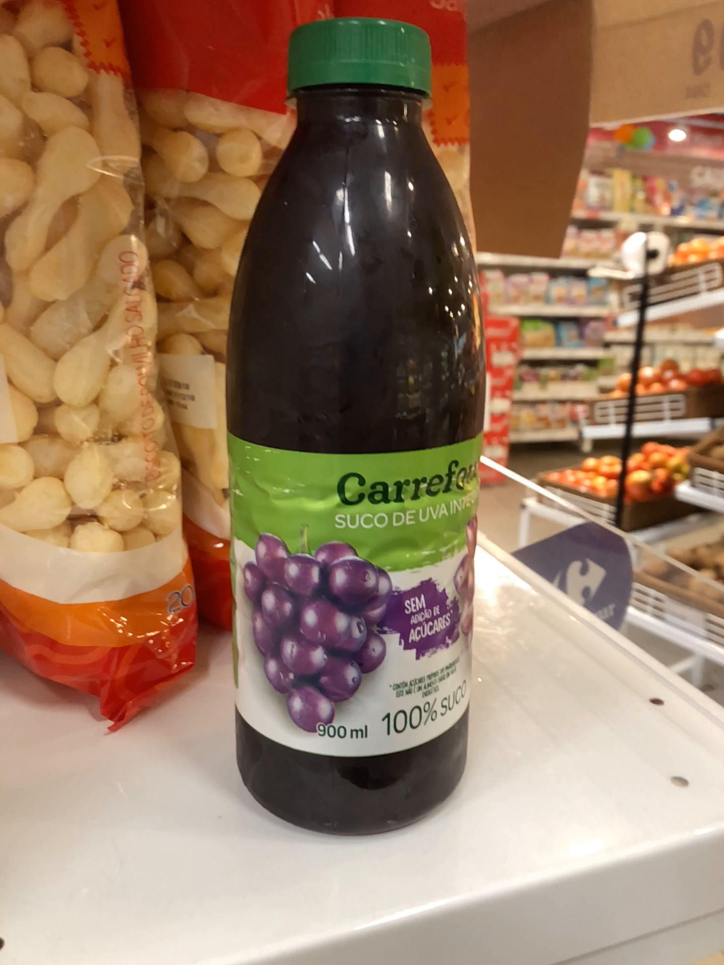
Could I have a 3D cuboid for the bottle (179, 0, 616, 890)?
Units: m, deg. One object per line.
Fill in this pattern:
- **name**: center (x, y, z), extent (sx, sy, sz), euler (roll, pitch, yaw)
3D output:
- **bottle**: center (0.004, -0.013, 0.252), extent (0.090, 0.229, 0.080), euler (-9, 19, -37)
